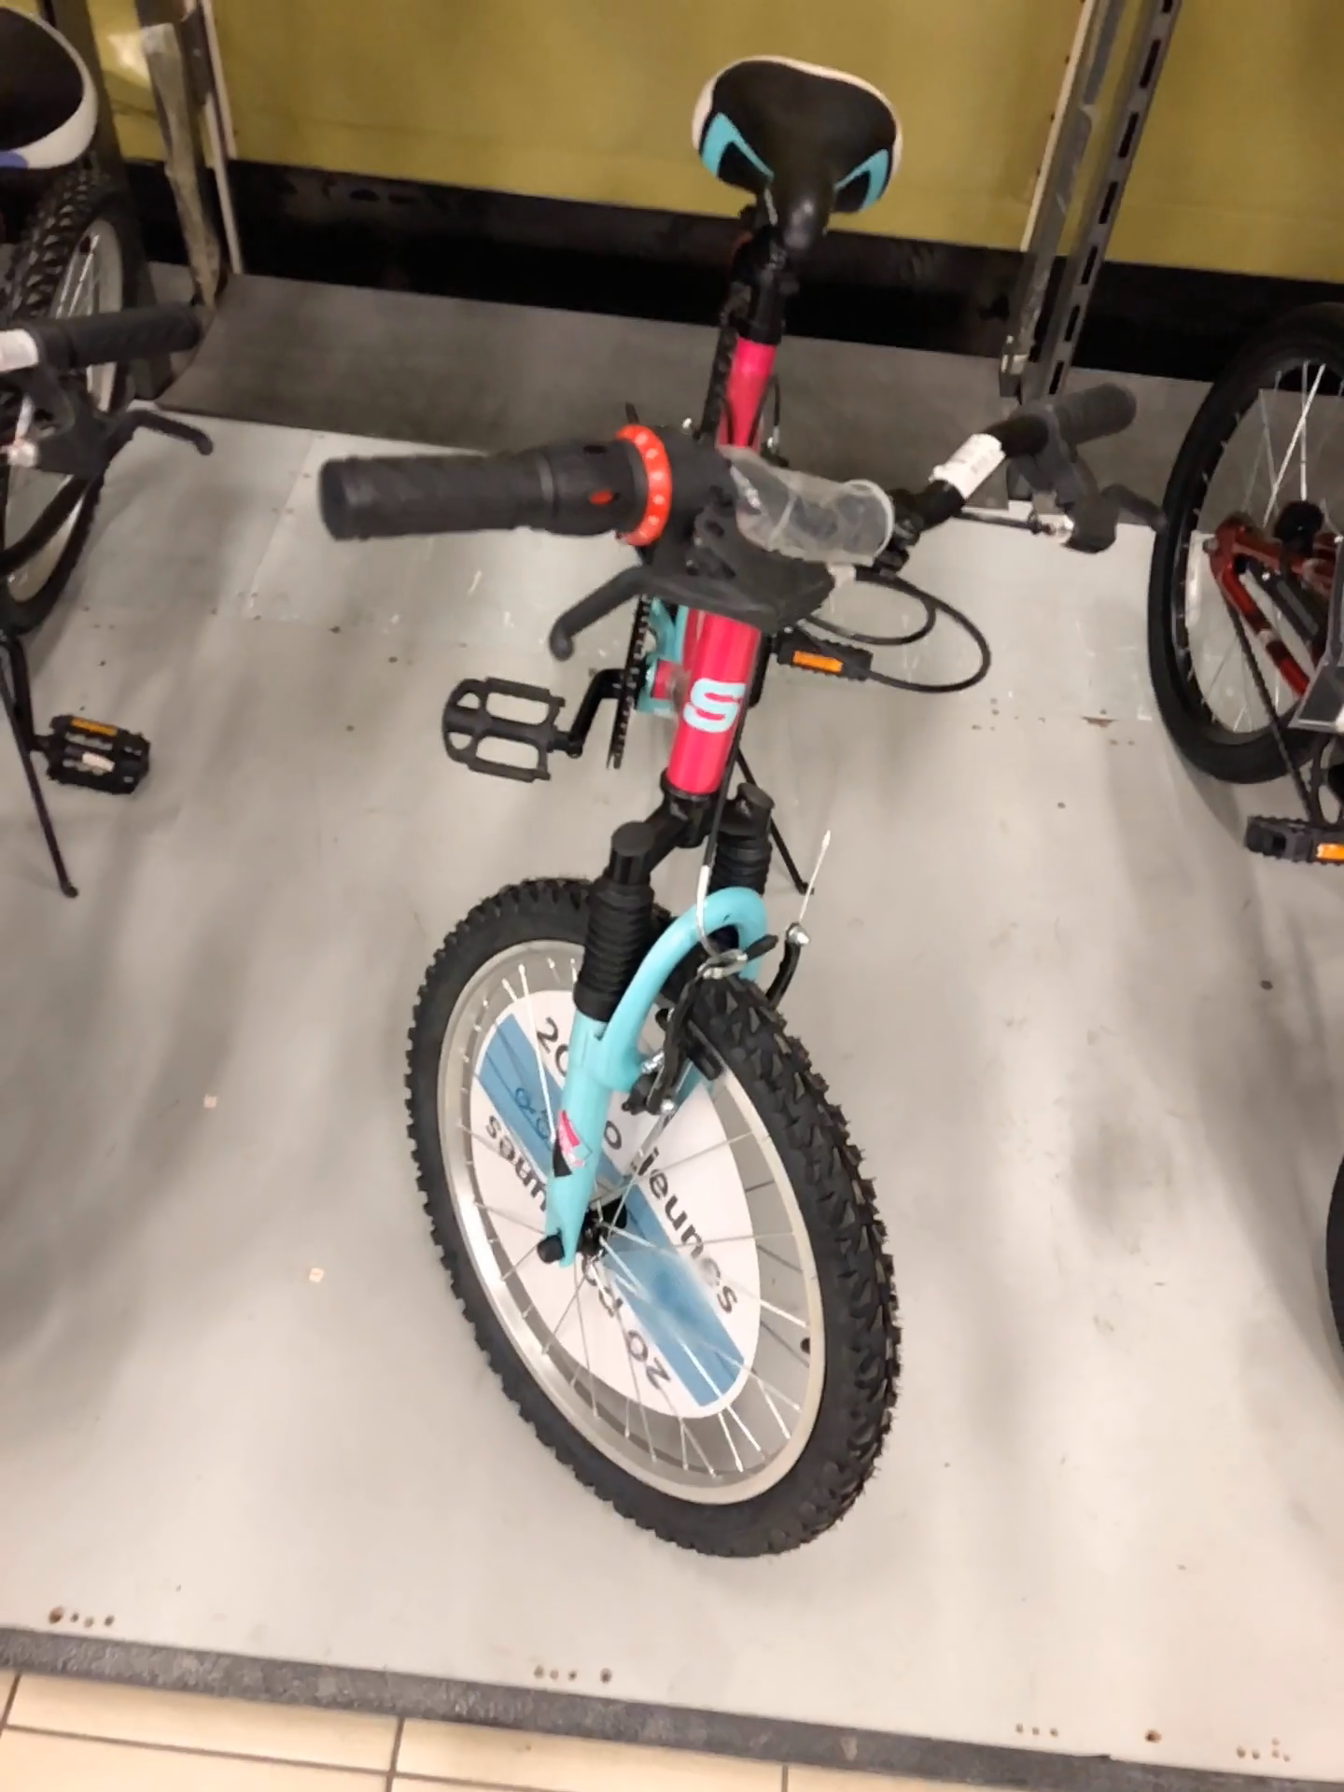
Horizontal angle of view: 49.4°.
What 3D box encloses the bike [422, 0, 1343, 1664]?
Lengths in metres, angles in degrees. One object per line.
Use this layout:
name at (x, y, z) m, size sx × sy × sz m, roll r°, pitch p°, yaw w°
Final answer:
bike at (0.151, -0.181, 1.160) m, size 0.562 × 0.764 × 1.219 m, roll 2°, pitch 55°, yaw -3°
